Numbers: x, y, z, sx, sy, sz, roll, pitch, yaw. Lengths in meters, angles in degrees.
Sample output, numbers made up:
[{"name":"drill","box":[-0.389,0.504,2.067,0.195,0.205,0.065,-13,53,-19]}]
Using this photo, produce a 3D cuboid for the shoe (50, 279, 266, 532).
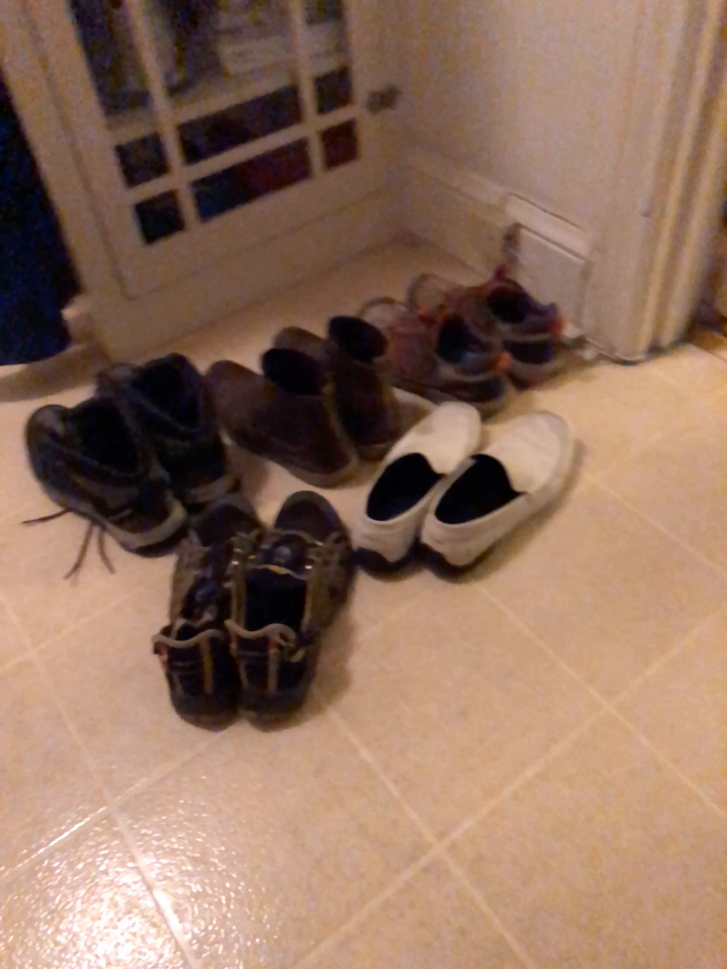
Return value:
[{"name":"shoe","box":[-0.285,-0.117,1.114,0.110,0.192,0.324,-32,51,-23]}]

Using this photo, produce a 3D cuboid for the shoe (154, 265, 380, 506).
[{"name":"shoe","box":[-0.135,-0.145,1.129,0.110,0.192,0.324,-36,53,-26]}]

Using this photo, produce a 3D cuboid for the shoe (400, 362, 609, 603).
[{"name":"shoe","box":[0.182,-0.012,1.013,0.110,0.112,0.304,27,54,28]}]

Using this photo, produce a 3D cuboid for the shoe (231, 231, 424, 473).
[{"name":"shoe","box":[-0.054,-0.201,1.170,0.110,0.192,0.325,-27,49,-19]}]

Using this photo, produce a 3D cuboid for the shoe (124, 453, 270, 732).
[{"name":"shoe","box":[-0.178,0.114,0.923,0.110,0.122,0.295,-5,46,2]}]

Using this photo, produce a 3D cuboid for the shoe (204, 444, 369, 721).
[{"name":"shoe","box":[-0.075,0.102,0.928,0.110,0.122,0.295,3,47,10]}]

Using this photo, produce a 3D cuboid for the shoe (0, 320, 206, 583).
[{"name":"shoe","box":[-0.367,-0.050,1.049,0.110,0.192,0.324,-38,53,-26]}]

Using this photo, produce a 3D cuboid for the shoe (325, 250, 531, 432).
[{"name":"shoe","box":[0.089,-0.221,1.193,0.110,0.112,0.314,-34,52,-24]}]

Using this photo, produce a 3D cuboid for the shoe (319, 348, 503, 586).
[{"name":"shoe","box":[0.072,-0.033,1.043,0.110,0.112,0.304,18,51,22]}]

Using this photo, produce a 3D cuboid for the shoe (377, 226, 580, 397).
[{"name":"shoe","box":[0.169,-0.276,1.244,0.110,0.112,0.314,-34,52,-24]}]
